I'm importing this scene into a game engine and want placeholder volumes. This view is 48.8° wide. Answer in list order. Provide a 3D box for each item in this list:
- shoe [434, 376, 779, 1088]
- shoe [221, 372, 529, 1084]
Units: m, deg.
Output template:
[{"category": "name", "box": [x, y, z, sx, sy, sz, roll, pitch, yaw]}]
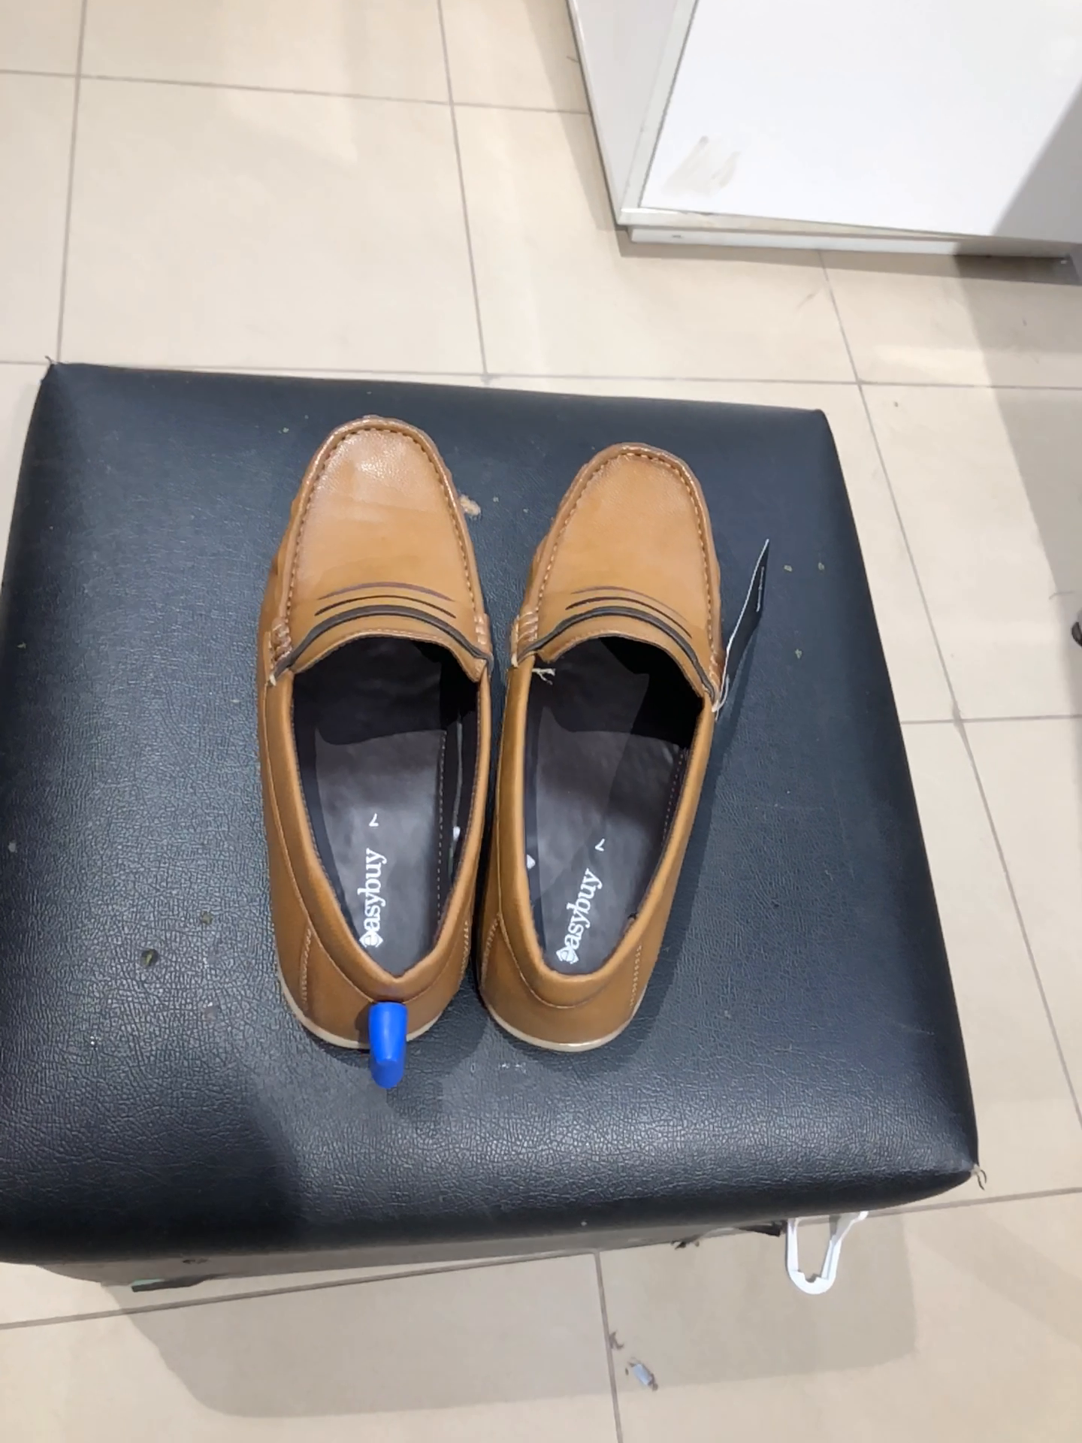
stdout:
[{"category": "shoe", "box": [0.032, -0.002, 0.497, 0.098, 0.088, 0.274, 11, 62, -5]}, {"category": "shoe", "box": [-0.065, -0.002, 0.483, 0.098, 0.088, 0.274, 2, 63, -10]}]
